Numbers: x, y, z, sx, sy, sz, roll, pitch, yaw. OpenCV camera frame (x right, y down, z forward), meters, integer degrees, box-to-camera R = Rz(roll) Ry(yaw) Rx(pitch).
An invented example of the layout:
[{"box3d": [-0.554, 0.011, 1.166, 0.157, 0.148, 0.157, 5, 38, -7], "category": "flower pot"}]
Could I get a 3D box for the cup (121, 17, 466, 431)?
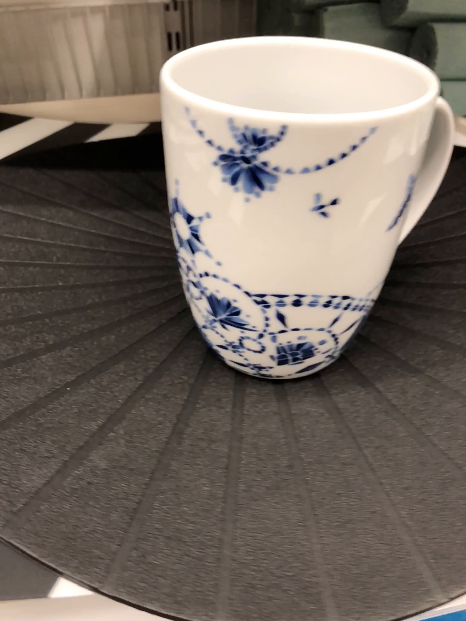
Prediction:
[{"box3d": [0.040, -0.043, 0.205, 0.130, 0.100, 0.100, -16, 42, -18], "category": "cup"}]
